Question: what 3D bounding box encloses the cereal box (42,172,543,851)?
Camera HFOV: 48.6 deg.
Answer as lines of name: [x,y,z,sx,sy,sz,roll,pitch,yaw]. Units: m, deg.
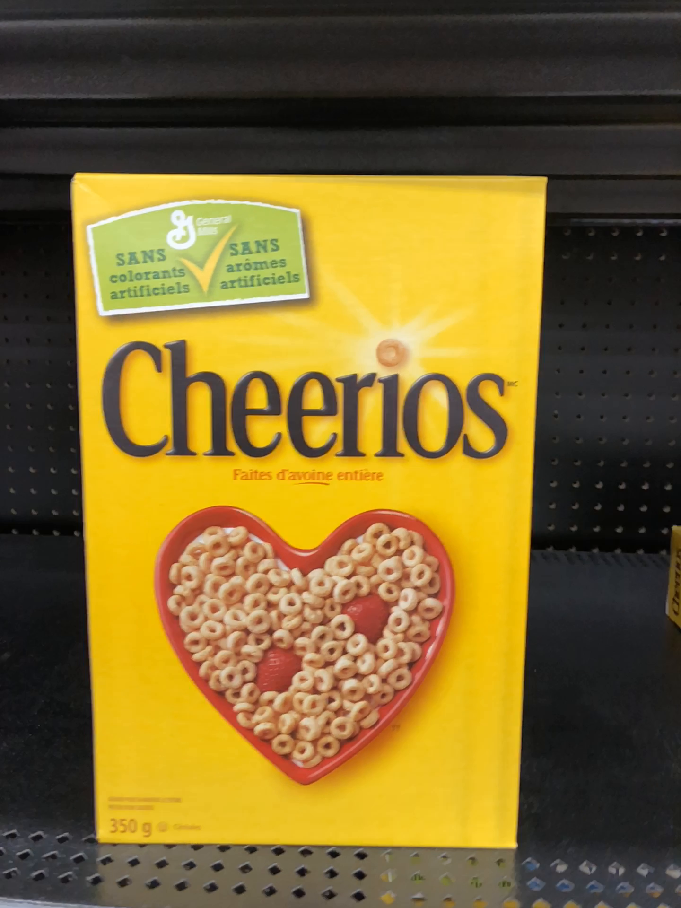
cereal box: [-0.022,0.029,0.378,0.210,0.309,0.080,1,8,0]
